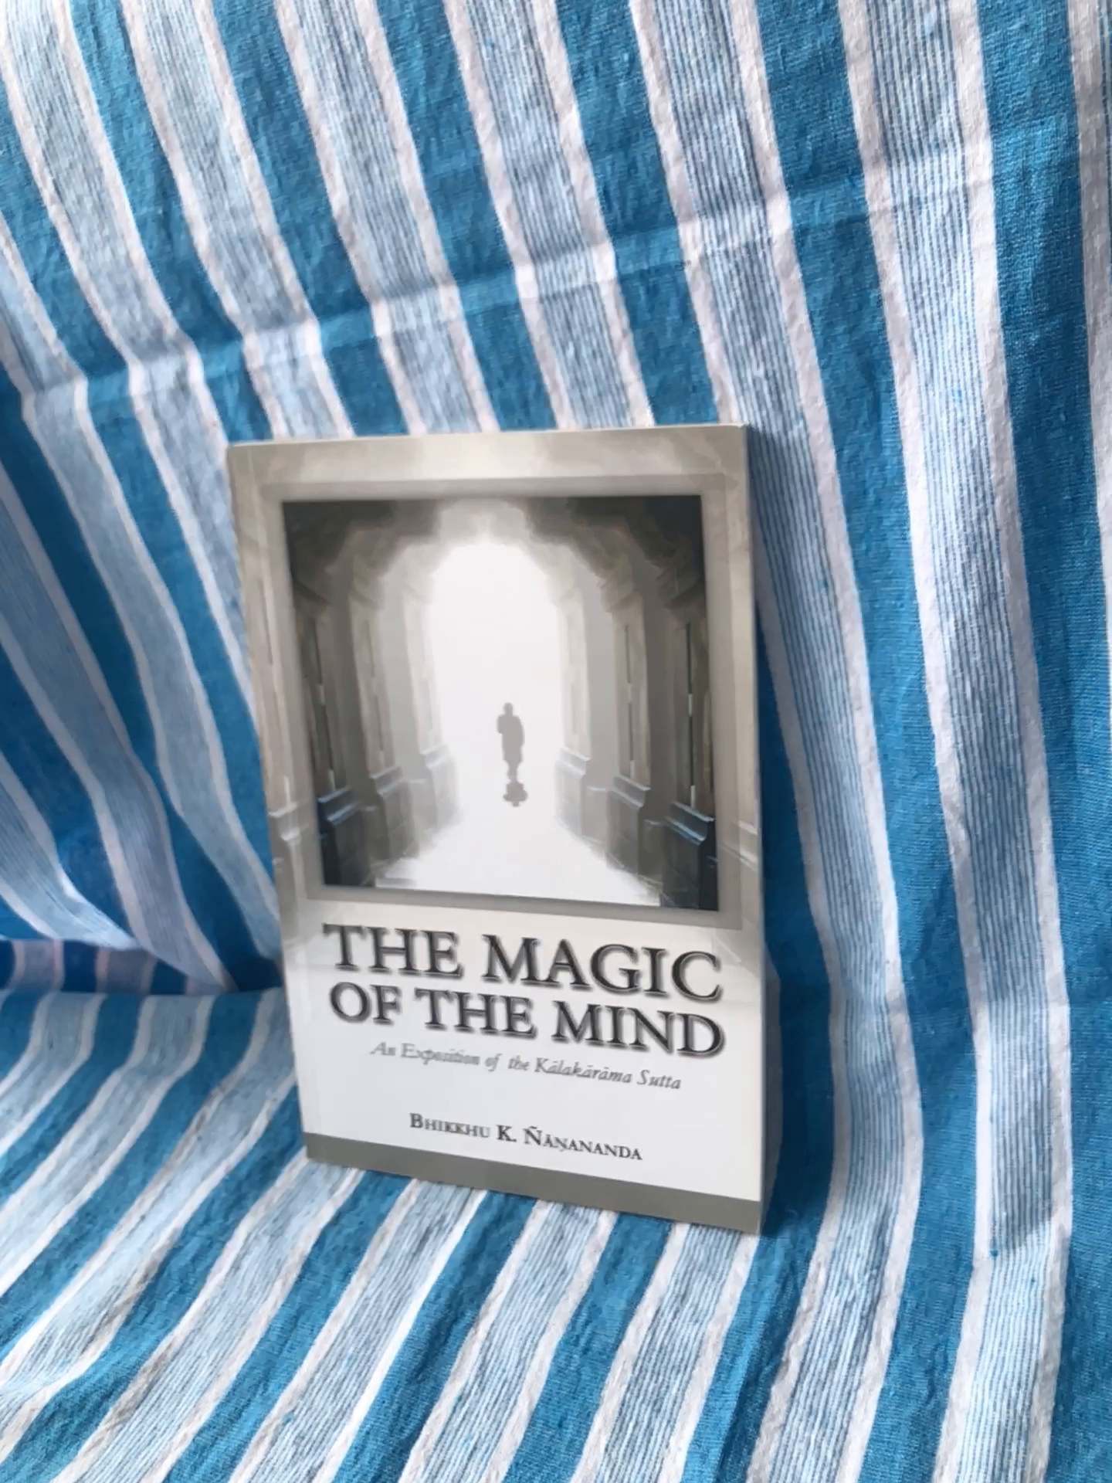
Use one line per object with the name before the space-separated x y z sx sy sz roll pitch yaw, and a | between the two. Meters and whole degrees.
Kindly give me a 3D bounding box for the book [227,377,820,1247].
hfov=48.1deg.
book | -0.008 0.022 0.329 0.150 0.219 0.010 2 14 18
